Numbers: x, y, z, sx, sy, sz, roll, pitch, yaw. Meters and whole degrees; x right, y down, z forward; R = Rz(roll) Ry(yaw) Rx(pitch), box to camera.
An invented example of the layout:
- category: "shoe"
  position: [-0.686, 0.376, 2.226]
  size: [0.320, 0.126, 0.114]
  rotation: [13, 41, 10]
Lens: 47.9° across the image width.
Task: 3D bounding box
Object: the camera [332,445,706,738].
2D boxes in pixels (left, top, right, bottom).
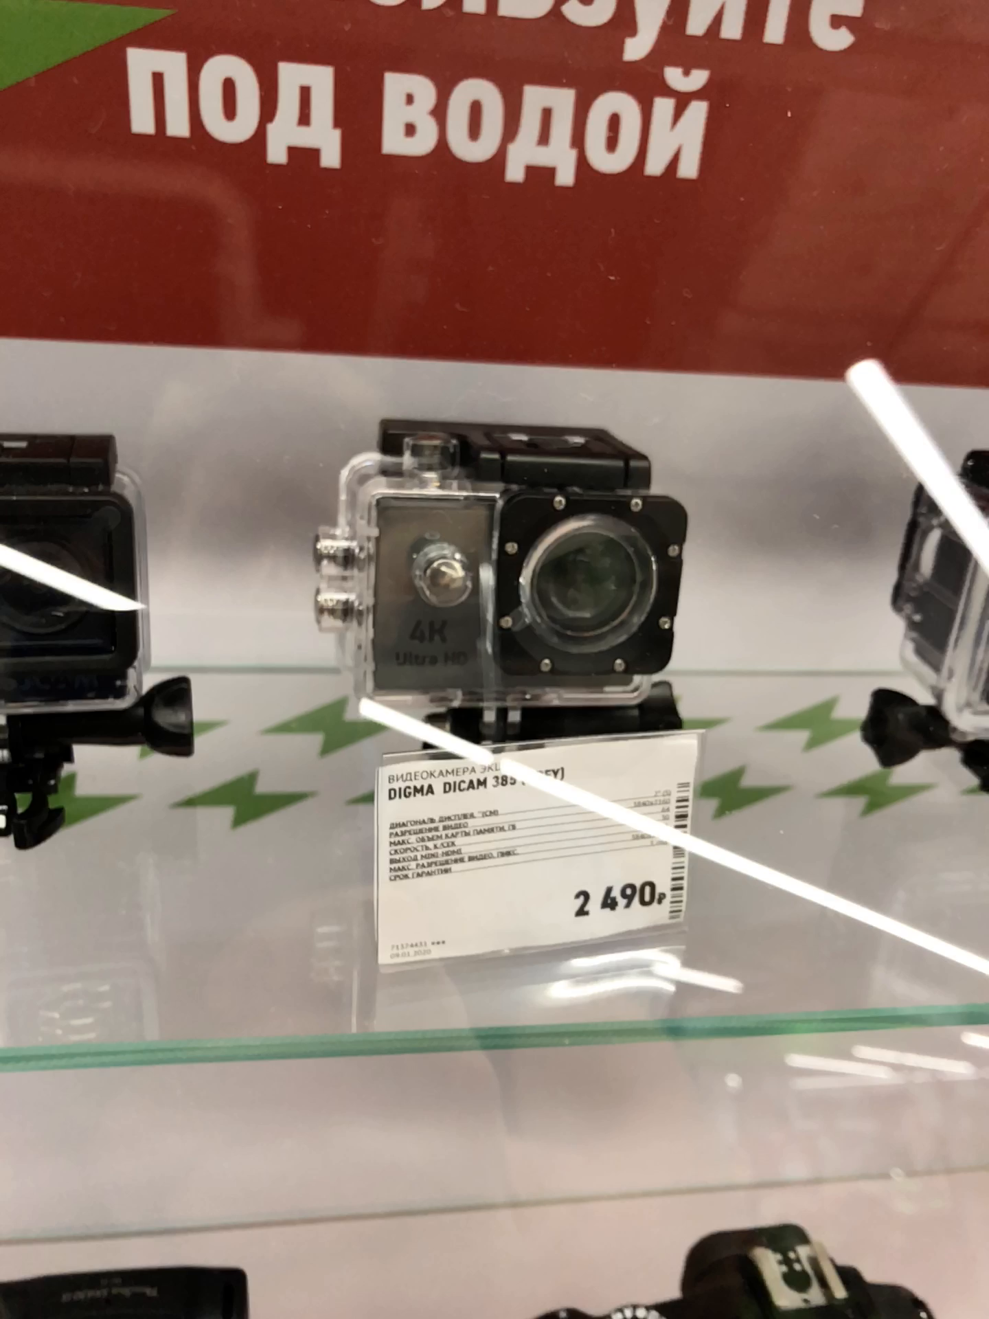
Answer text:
- category: "camera"
  position: [0.002, -0.017, 0.262]
  size: [0.077, 0.055, 0.048]
  rotation: [0, 20, -11]

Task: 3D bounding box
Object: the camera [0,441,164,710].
- category: "camera"
  position: [-0.106, -0.019, 0.227]
  size: [0.072, 0.046, 0.036]
  rotation: [-2, 17, -14]
